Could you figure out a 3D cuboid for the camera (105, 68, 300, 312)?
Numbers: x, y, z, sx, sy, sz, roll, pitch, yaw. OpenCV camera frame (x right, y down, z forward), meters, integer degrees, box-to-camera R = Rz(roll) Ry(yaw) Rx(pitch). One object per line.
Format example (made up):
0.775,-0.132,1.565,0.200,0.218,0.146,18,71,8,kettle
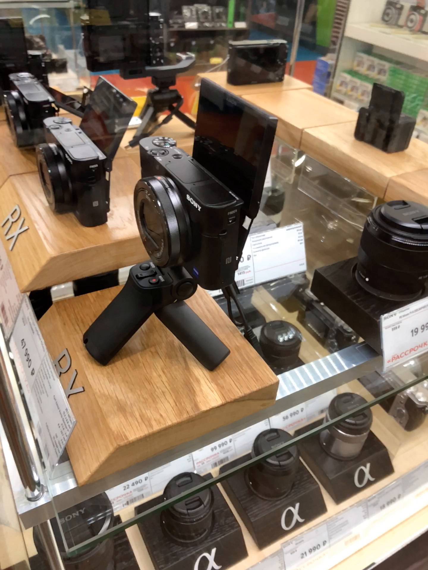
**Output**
-0.014,-0.062,0.283,0.062,0.097,0.109,-15,41,-24,camera

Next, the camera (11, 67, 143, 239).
-0.113,-0.114,0.394,0.070,0.097,0.109,-15,41,-24,camera
